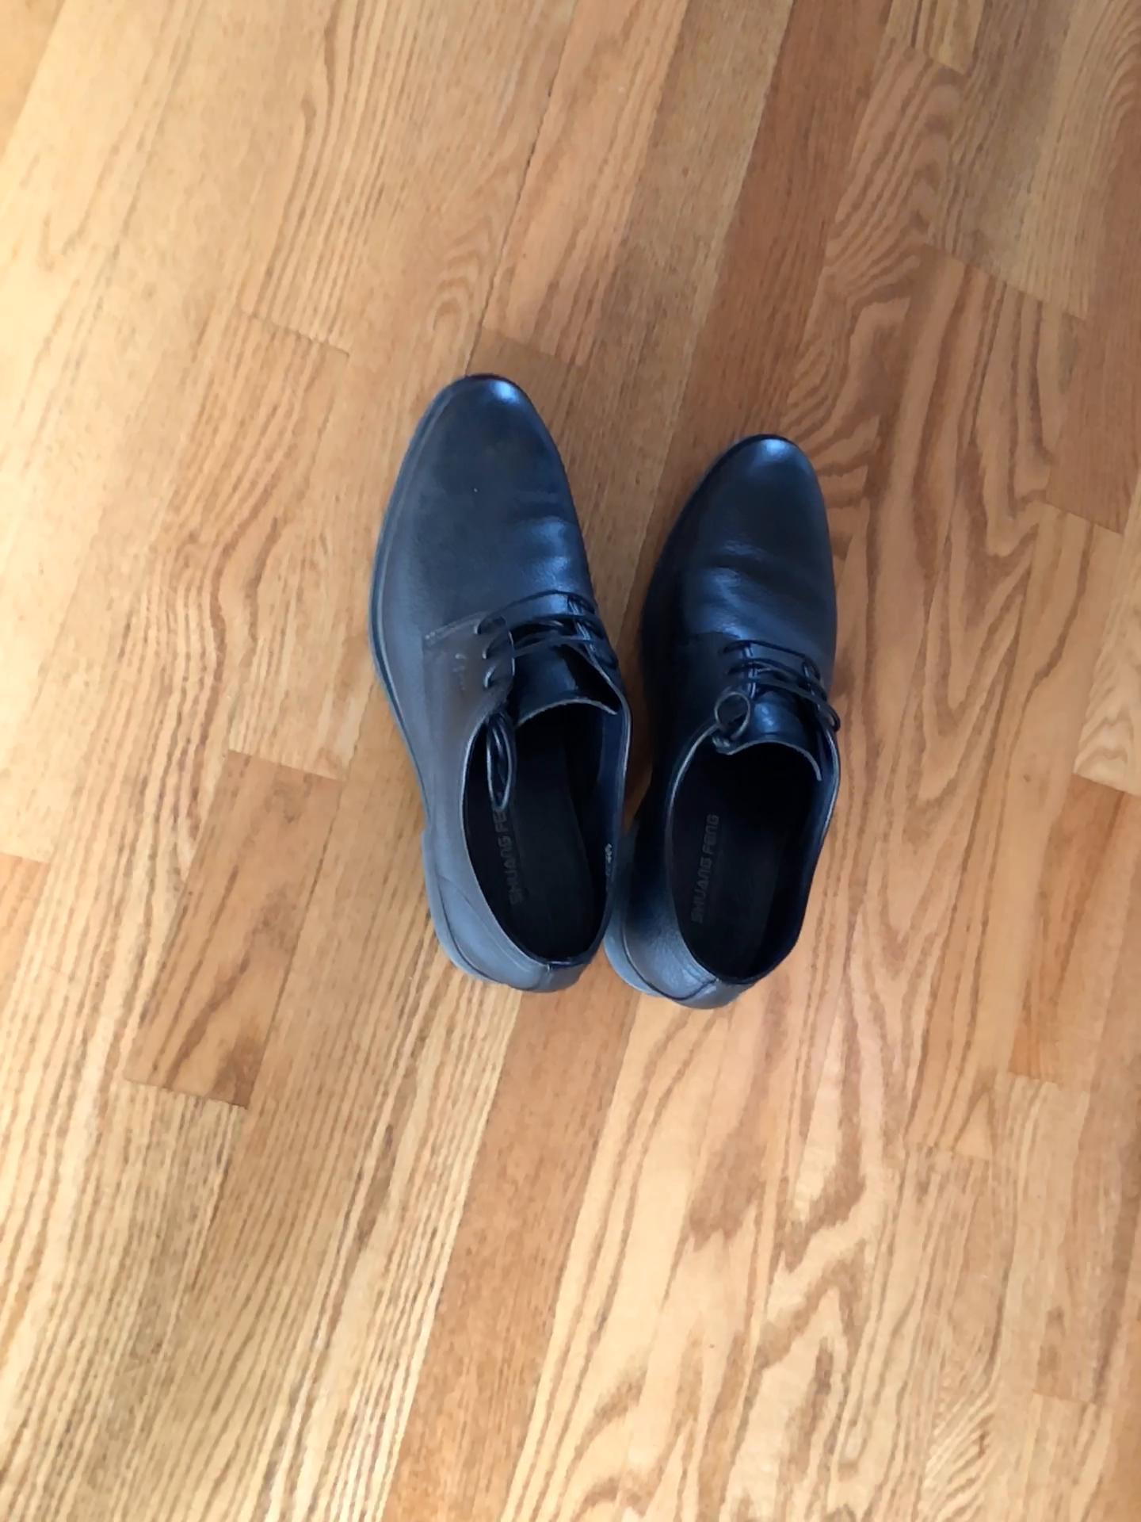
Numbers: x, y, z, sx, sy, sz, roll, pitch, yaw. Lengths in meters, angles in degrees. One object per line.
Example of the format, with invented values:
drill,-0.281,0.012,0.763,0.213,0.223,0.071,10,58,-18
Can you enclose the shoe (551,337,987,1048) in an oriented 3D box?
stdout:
shoe,0.094,-0.028,0.614,0.110,0.124,0.299,16,80,-16

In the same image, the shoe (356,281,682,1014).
shoe,-0.031,-0.046,0.589,0.110,0.124,0.304,-1,85,-18
